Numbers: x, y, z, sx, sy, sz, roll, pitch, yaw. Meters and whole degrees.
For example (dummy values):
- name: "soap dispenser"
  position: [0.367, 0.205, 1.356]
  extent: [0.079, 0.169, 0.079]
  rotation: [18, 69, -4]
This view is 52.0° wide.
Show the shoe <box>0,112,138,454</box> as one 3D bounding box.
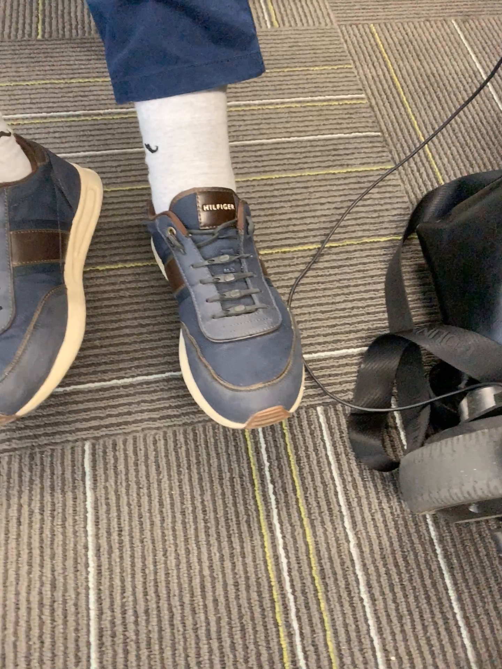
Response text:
- name: "shoe"
  position: [-0.212, -0.065, 0.491]
  extent: [0.120, 0.100, 0.321]
  rotation: [-15, 48, 20]

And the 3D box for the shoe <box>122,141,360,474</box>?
- name: "shoe"
  position: [-0.027, -0.046, 0.471]
  extent: [0.120, 0.100, 0.301]
  rotation: [-14, 51, -11]
